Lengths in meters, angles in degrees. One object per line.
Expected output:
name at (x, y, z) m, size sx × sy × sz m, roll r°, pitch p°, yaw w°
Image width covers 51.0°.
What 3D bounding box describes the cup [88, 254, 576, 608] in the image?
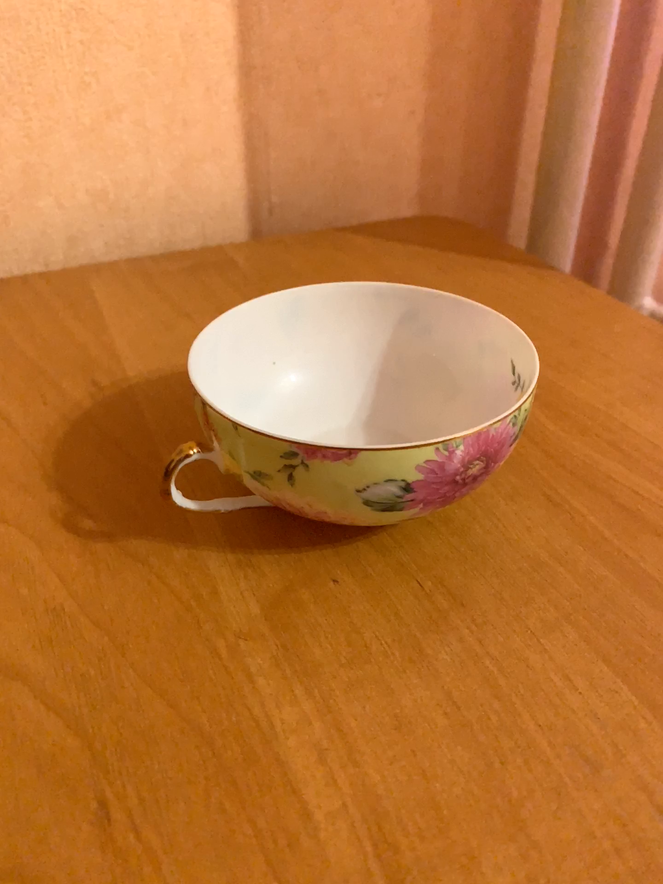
cup at (-0.004, -0.012, 0.205) m, size 0.113 × 0.045 × 0.079 m, roll -15°, pitch 37°, yaw -19°
